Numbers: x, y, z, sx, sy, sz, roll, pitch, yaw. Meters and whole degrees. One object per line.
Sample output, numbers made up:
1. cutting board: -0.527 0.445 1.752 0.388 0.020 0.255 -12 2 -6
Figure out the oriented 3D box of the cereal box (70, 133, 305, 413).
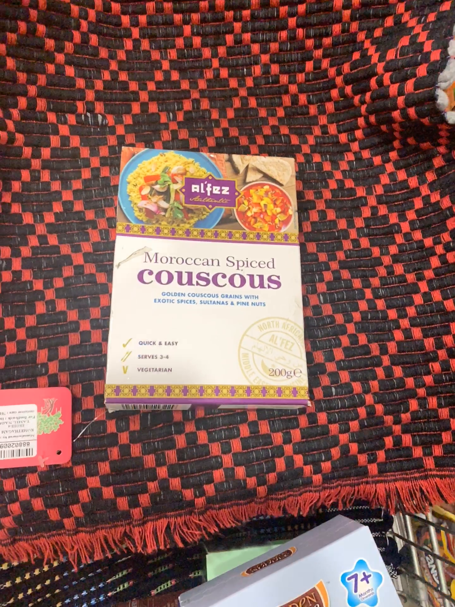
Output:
1. cereal box: -0.023 -0.018 0.289 0.120 0.050 0.160 1 71 -8
